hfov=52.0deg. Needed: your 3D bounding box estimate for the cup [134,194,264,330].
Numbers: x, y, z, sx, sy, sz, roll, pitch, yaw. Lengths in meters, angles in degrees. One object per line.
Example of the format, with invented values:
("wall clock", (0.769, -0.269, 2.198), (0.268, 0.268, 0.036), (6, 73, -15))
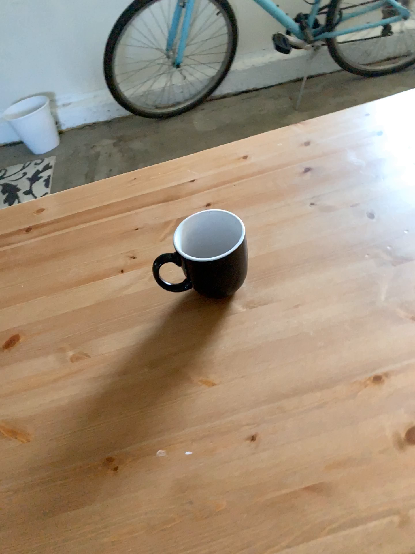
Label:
("cup", (-0.009, -0.021, 0.607), (0.140, 0.110, 0.100), (-25, 51, -8))
